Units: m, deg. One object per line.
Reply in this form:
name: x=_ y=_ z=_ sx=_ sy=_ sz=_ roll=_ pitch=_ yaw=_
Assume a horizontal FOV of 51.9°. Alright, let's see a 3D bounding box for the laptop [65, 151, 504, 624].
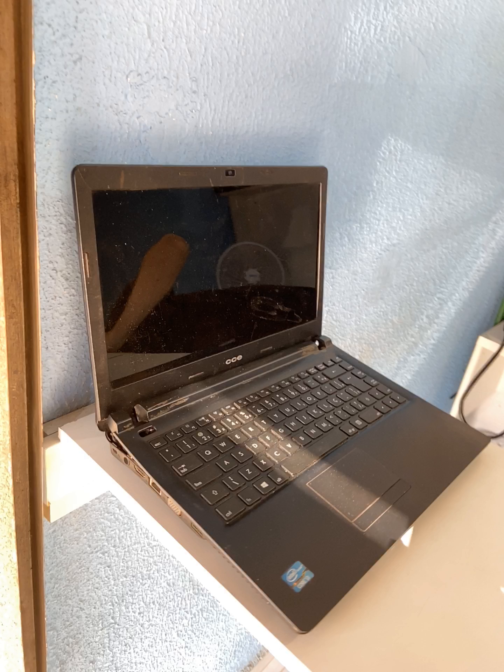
laptop: x=0.056 y=-0.017 z=0.497 sx=0.312 sy=0.211 sz=0.335 roll=33 pitch=34 yaw=34
